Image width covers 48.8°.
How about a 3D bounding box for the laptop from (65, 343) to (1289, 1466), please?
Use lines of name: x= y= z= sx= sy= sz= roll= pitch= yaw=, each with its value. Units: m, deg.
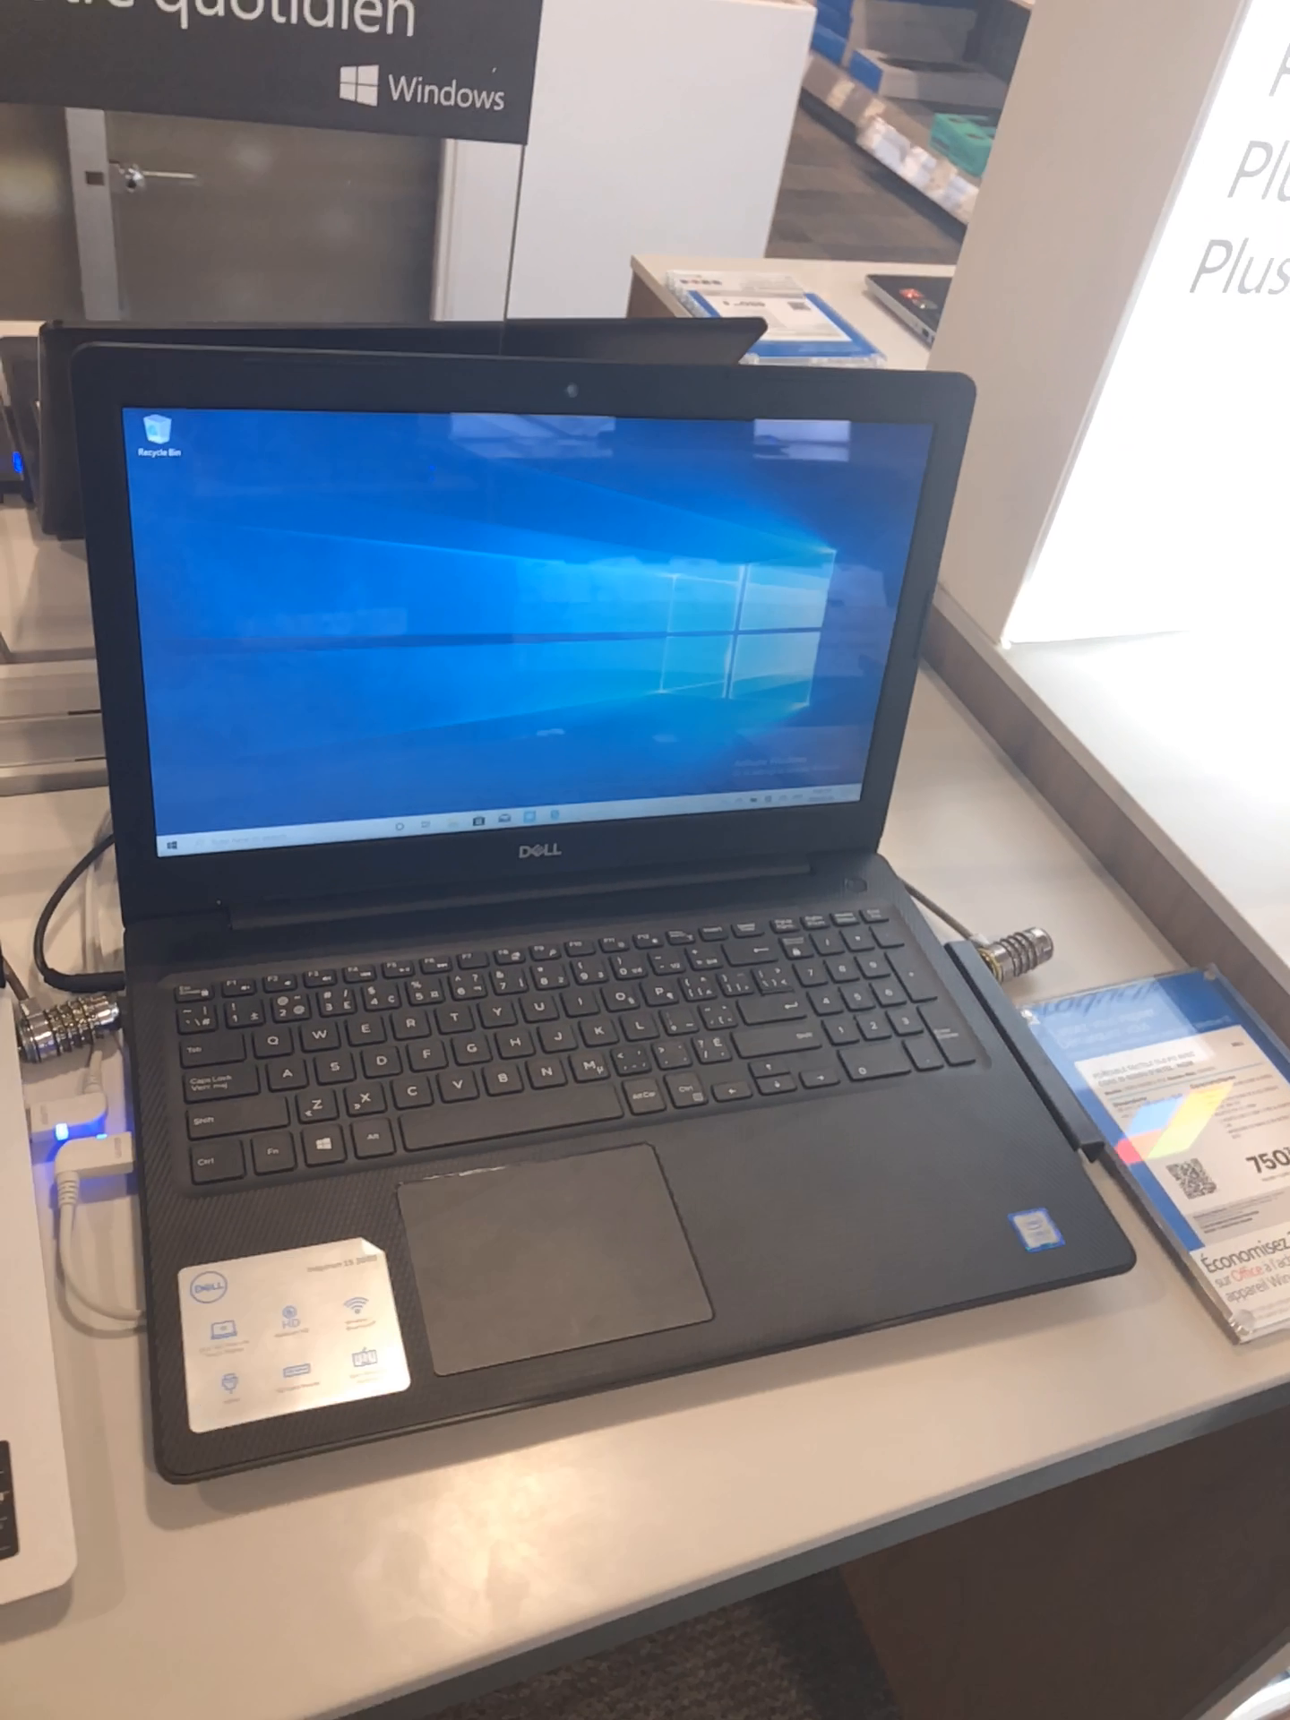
laptop: x=-0.007 y=-0.012 z=0.543 sx=0.368 sy=0.230 sz=0.310 roll=-5 pitch=43 yaw=-20
